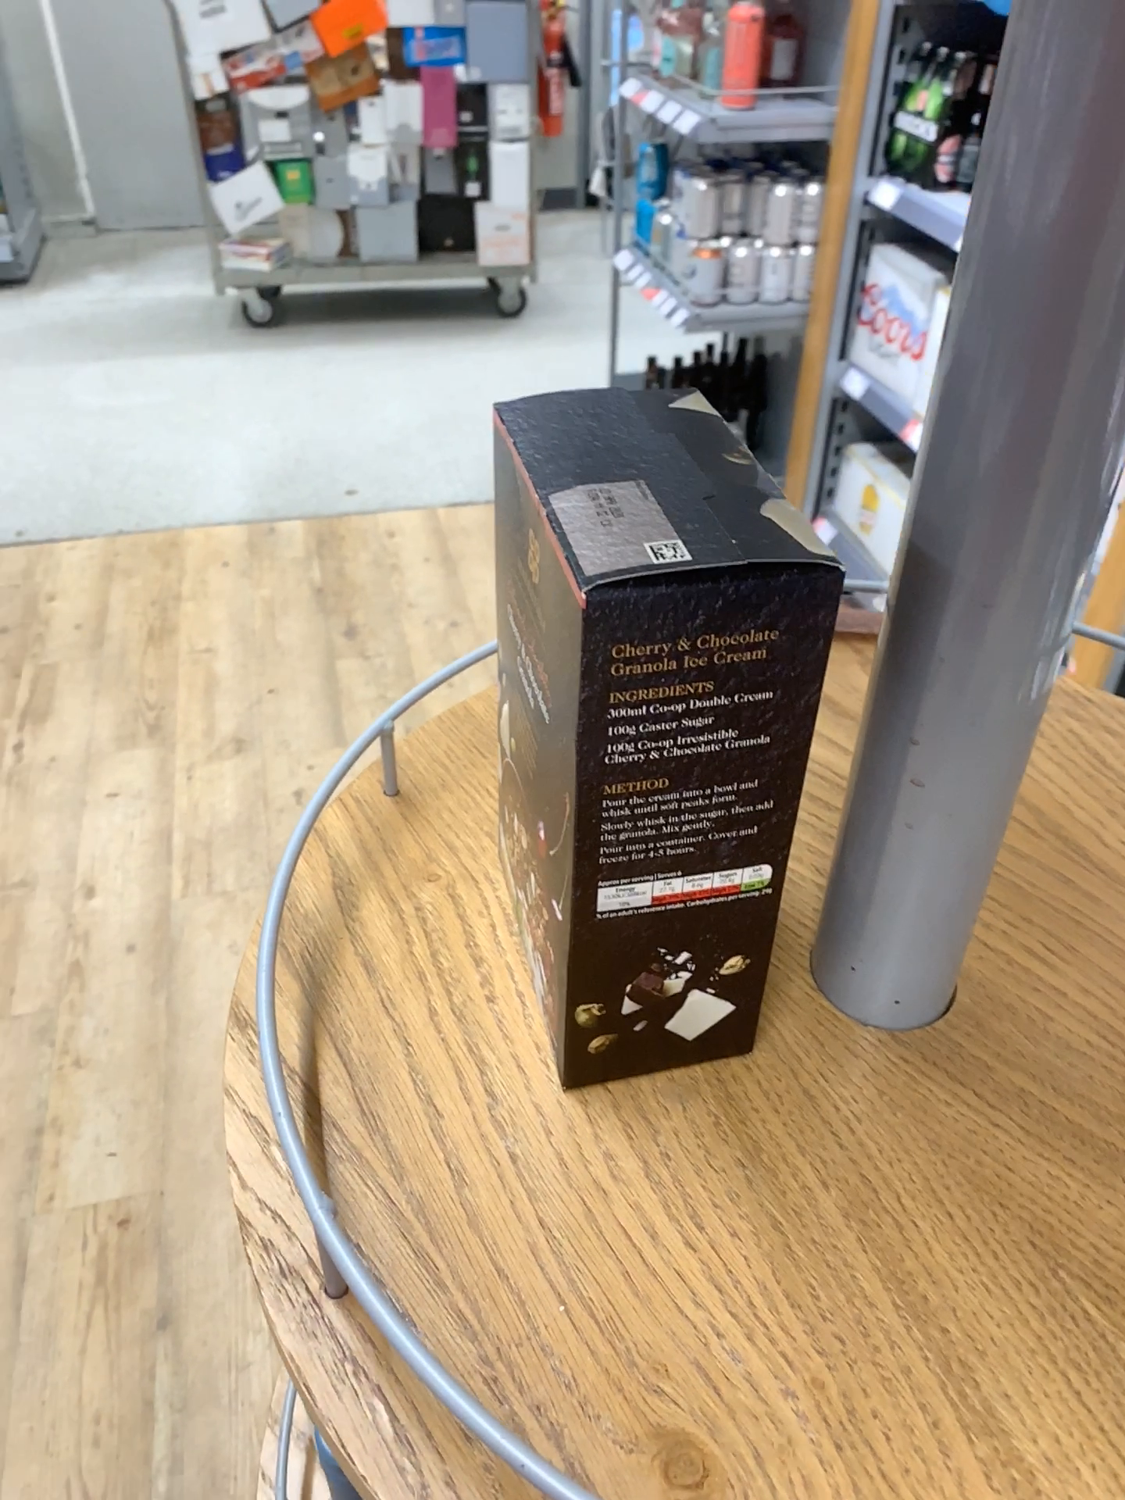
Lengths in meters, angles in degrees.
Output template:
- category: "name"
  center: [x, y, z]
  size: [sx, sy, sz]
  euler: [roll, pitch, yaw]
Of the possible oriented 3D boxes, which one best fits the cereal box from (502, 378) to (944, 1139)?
- category: "cereal box"
  center: [0.038, 0.004, 0.410]
  size: [0.090, 0.218, 0.141]
  euler: [-7, 38, -10]
